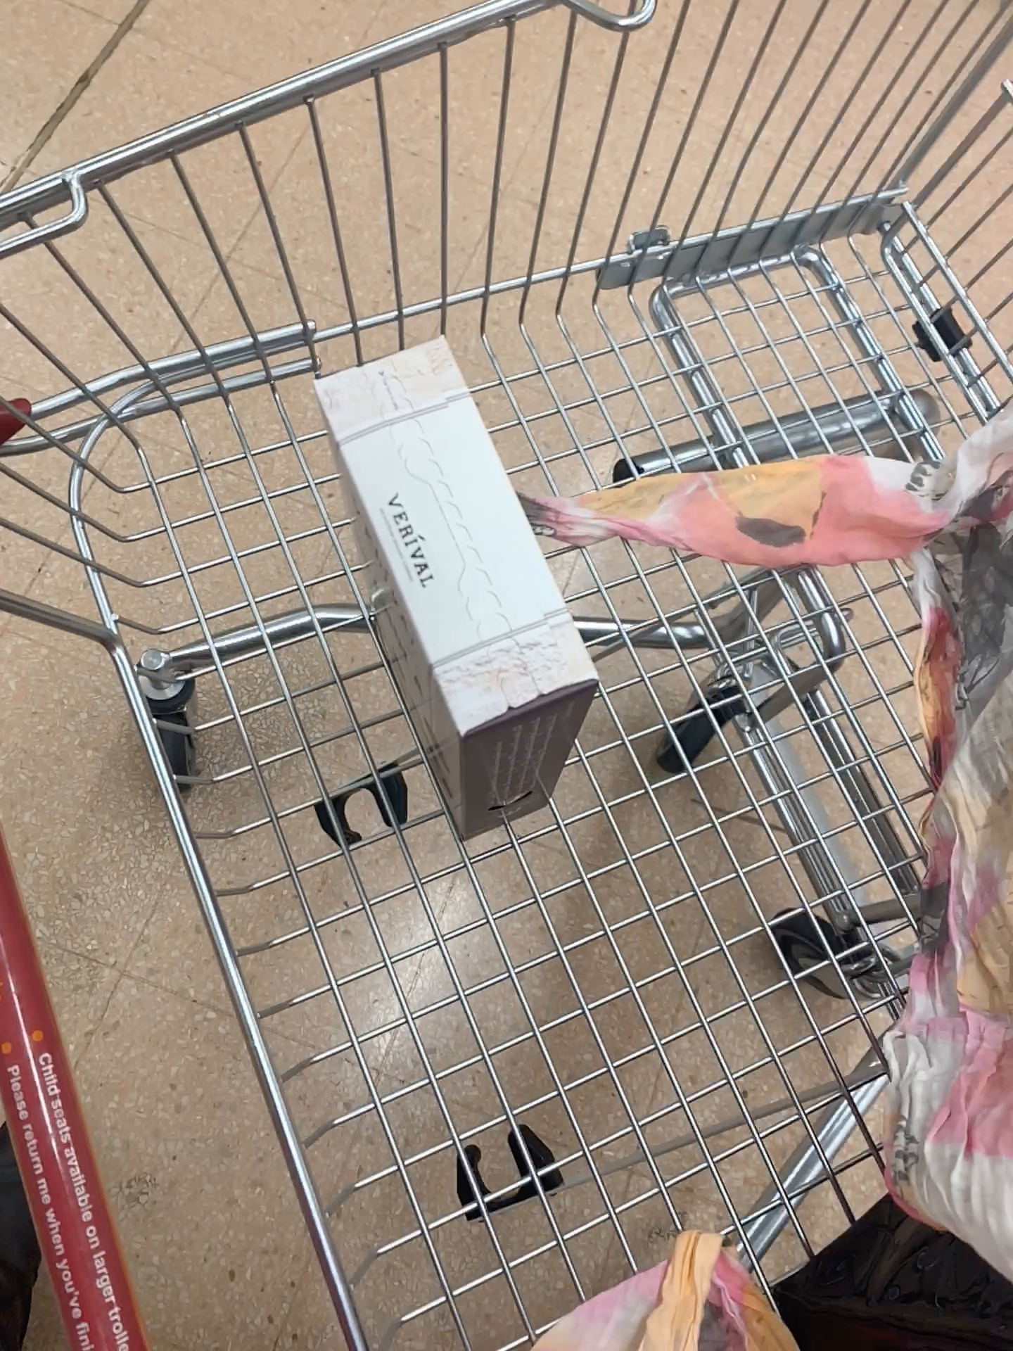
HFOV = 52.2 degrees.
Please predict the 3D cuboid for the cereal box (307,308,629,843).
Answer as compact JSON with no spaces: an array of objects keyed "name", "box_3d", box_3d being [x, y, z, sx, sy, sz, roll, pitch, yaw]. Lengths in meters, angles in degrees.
[{"name":"cereal box","box_3d":[-0.019,-0.019,0.423,0.050,0.219,0.140,-21,76,-8]}]
